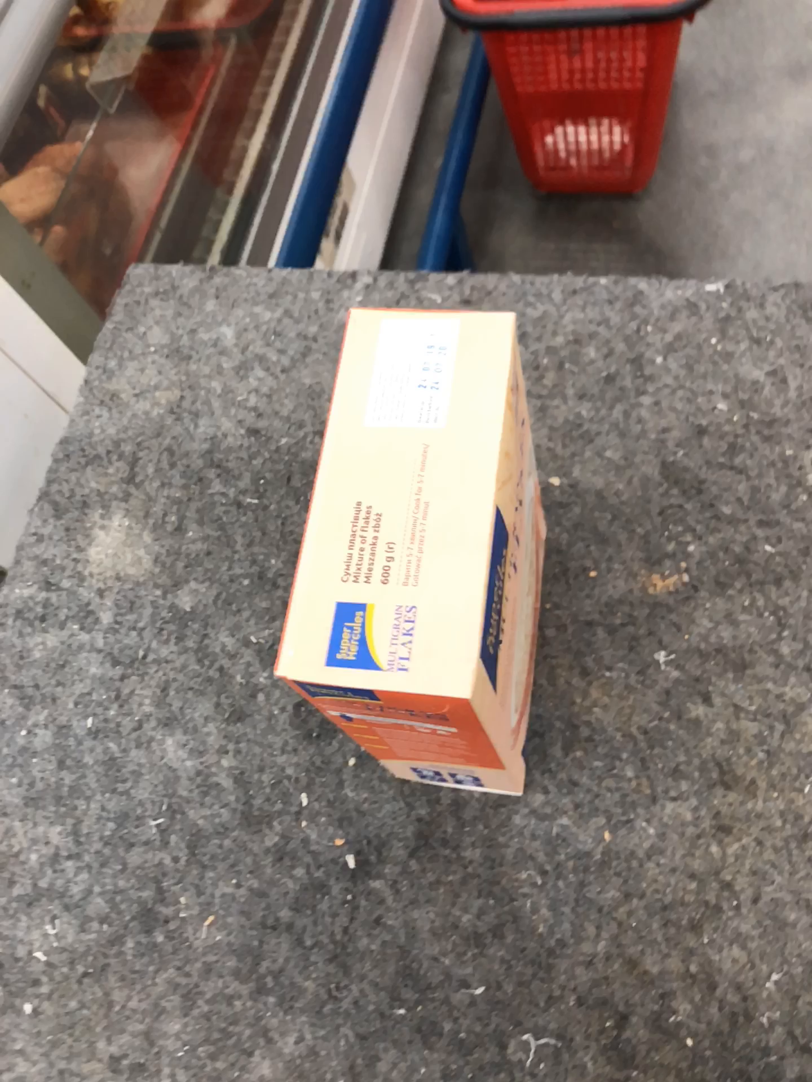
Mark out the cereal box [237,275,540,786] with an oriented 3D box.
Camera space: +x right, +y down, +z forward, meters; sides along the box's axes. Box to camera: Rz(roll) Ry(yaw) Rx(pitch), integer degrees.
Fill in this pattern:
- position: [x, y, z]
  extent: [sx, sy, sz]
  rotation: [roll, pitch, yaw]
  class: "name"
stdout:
- position: [0.011, 0.010, 0.395]
  extent: [0.070, 0.199, 0.151]
  rotation: [3, 66, 14]
  class: "cereal box"
